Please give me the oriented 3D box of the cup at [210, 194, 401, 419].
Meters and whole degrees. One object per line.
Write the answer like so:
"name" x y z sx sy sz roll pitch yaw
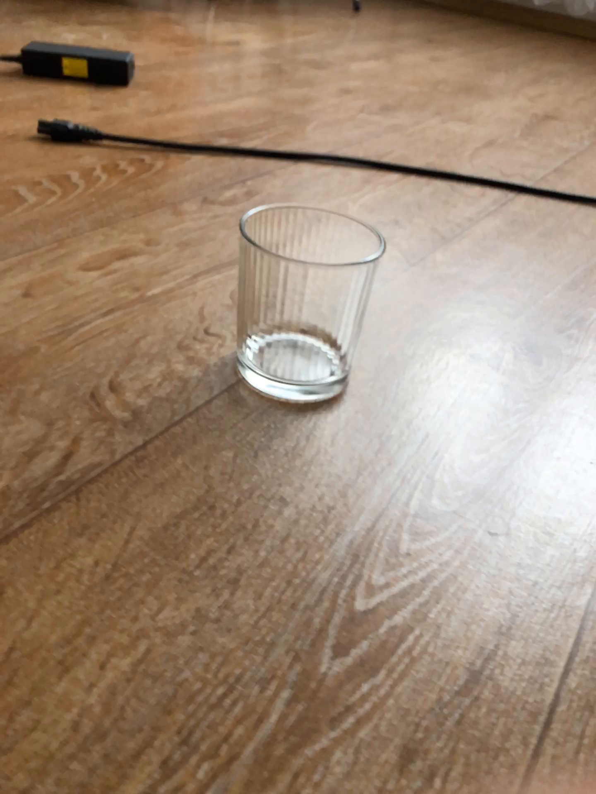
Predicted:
"cup" 0.005 -0.050 0.353 0.078 0.079 0.076 6 36 -4
